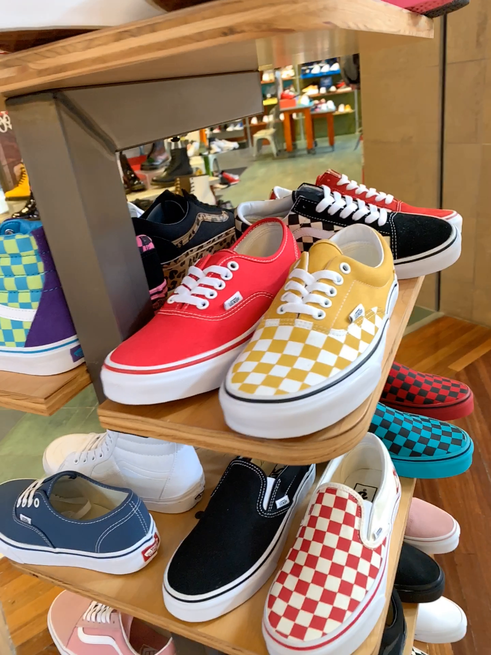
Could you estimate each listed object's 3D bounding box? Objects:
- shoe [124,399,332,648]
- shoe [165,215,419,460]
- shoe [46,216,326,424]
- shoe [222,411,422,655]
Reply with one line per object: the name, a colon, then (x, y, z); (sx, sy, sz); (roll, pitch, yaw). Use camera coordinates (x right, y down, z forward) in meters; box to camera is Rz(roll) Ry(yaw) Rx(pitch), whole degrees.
shoe: (0.000, 0.190, 0.560); (0.105, 0.067, 0.269); (6, 29, 28)
shoe: (0.061, -0.019, 0.398); (0.103, 0.067, 0.269); (5, 28, 27)
shoe: (-0.028, -0.030, 0.450); (0.109, 0.067, 0.269); (6, 29, 28)
shoe: (0.093, 0.195, 0.493); (0.103, 0.067, 0.269); (6, 29, 28)
